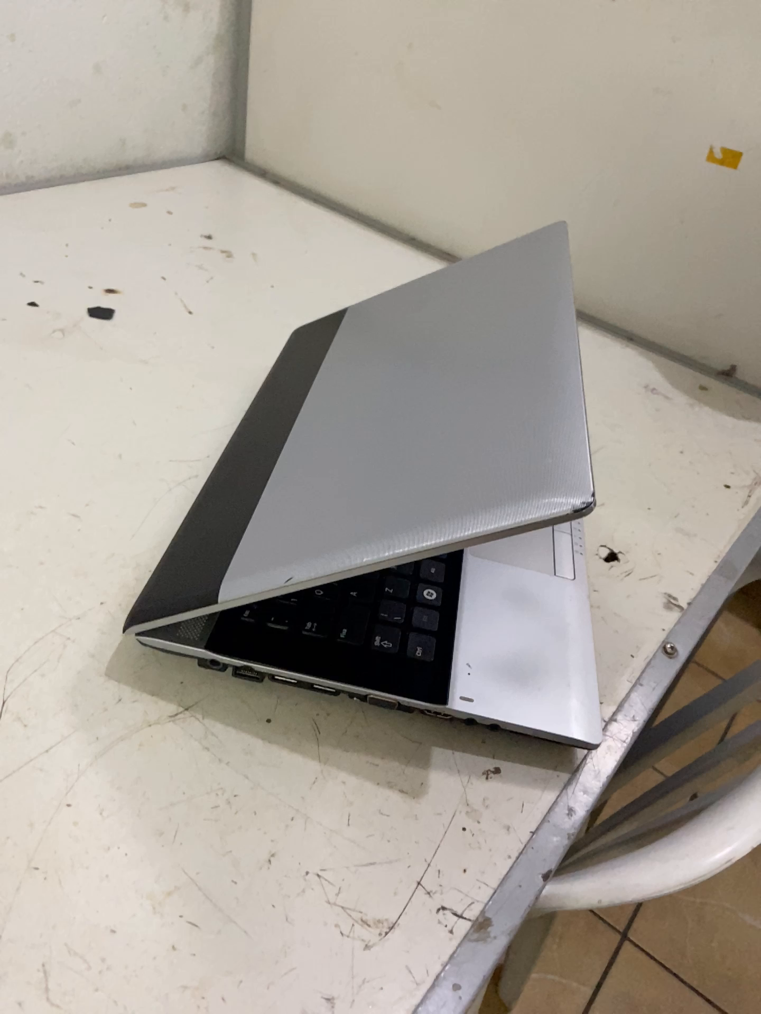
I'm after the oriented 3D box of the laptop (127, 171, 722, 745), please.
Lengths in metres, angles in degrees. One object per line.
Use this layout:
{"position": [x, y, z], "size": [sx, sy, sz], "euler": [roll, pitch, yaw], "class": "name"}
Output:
{"position": [0.029, -0.065, 0.471], "size": [0.232, 0.133, 0.338], "euler": [13, 37, 0], "class": "laptop"}
